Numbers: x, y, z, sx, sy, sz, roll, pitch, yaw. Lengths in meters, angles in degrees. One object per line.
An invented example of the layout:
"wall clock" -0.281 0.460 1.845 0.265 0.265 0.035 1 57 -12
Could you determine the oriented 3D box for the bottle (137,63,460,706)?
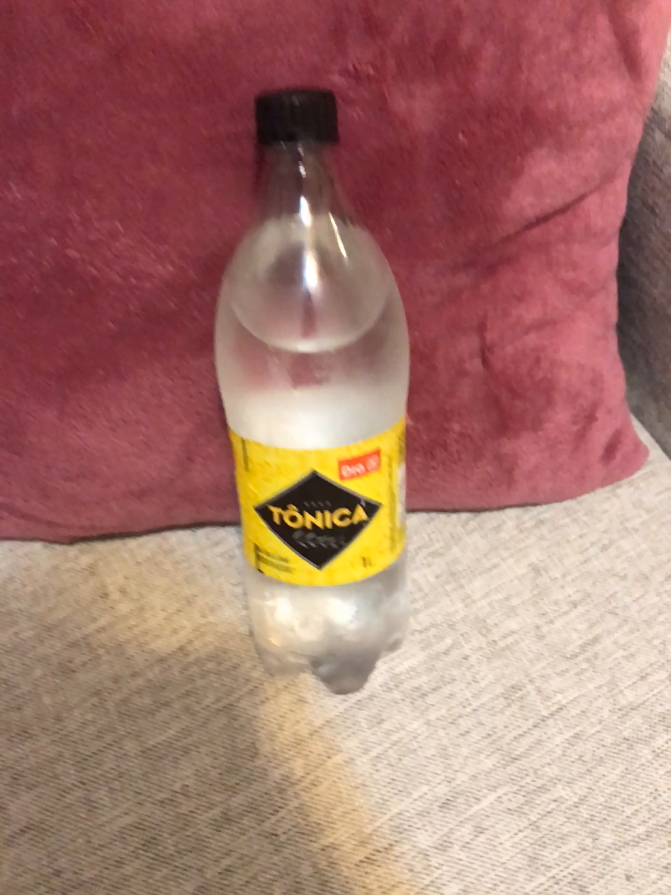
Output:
"bottle" -0.007 -0.019 0.341 0.100 0.269 0.100 -2 30 1
